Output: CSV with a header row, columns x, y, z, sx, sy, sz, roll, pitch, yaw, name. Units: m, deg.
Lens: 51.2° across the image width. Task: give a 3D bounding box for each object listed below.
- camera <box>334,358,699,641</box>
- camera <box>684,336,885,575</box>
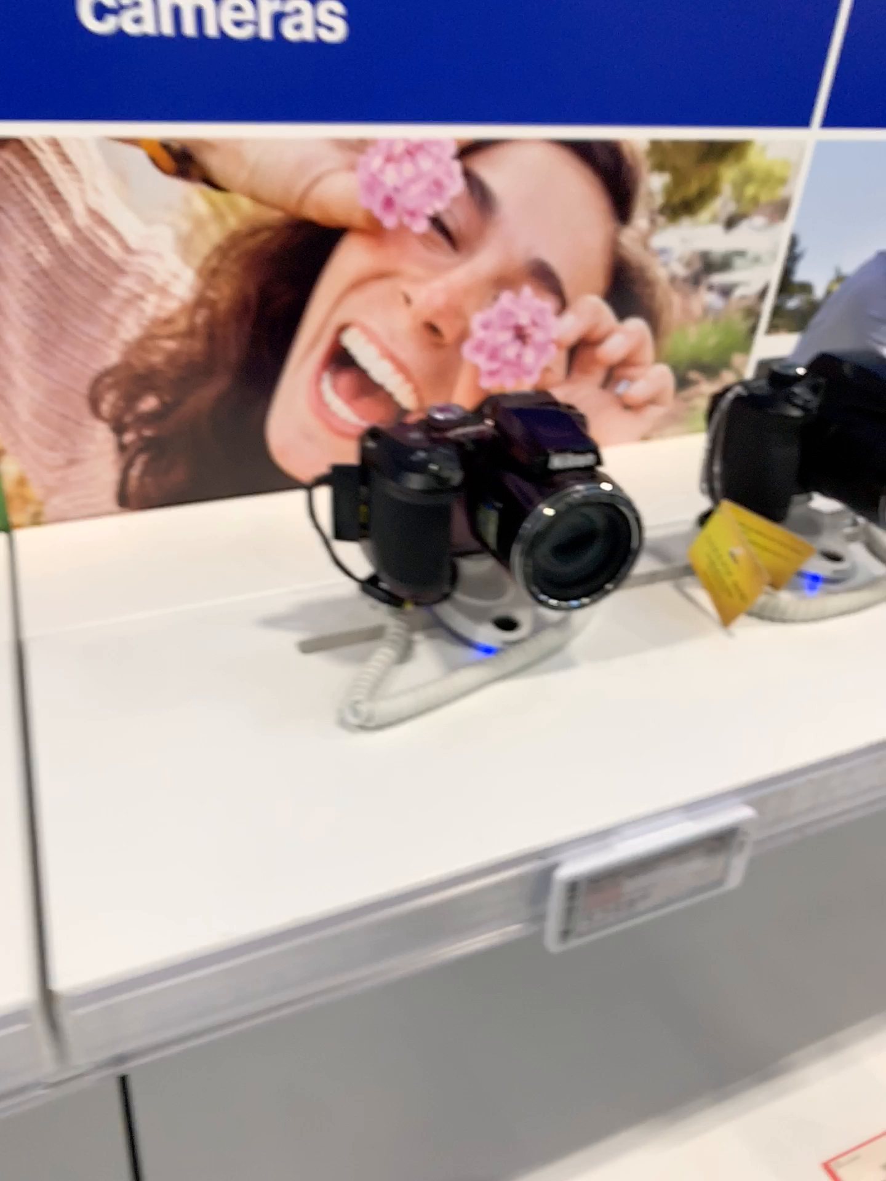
x,y,z,sx,sy,sz,roll,pitch,yaw,name
0.028,-0.050,0.439,0.130,0.080,0.111,-10,33,-21,camera
0.219,-0.079,0.499,0.120,0.080,0.111,-10,33,-21,camera
